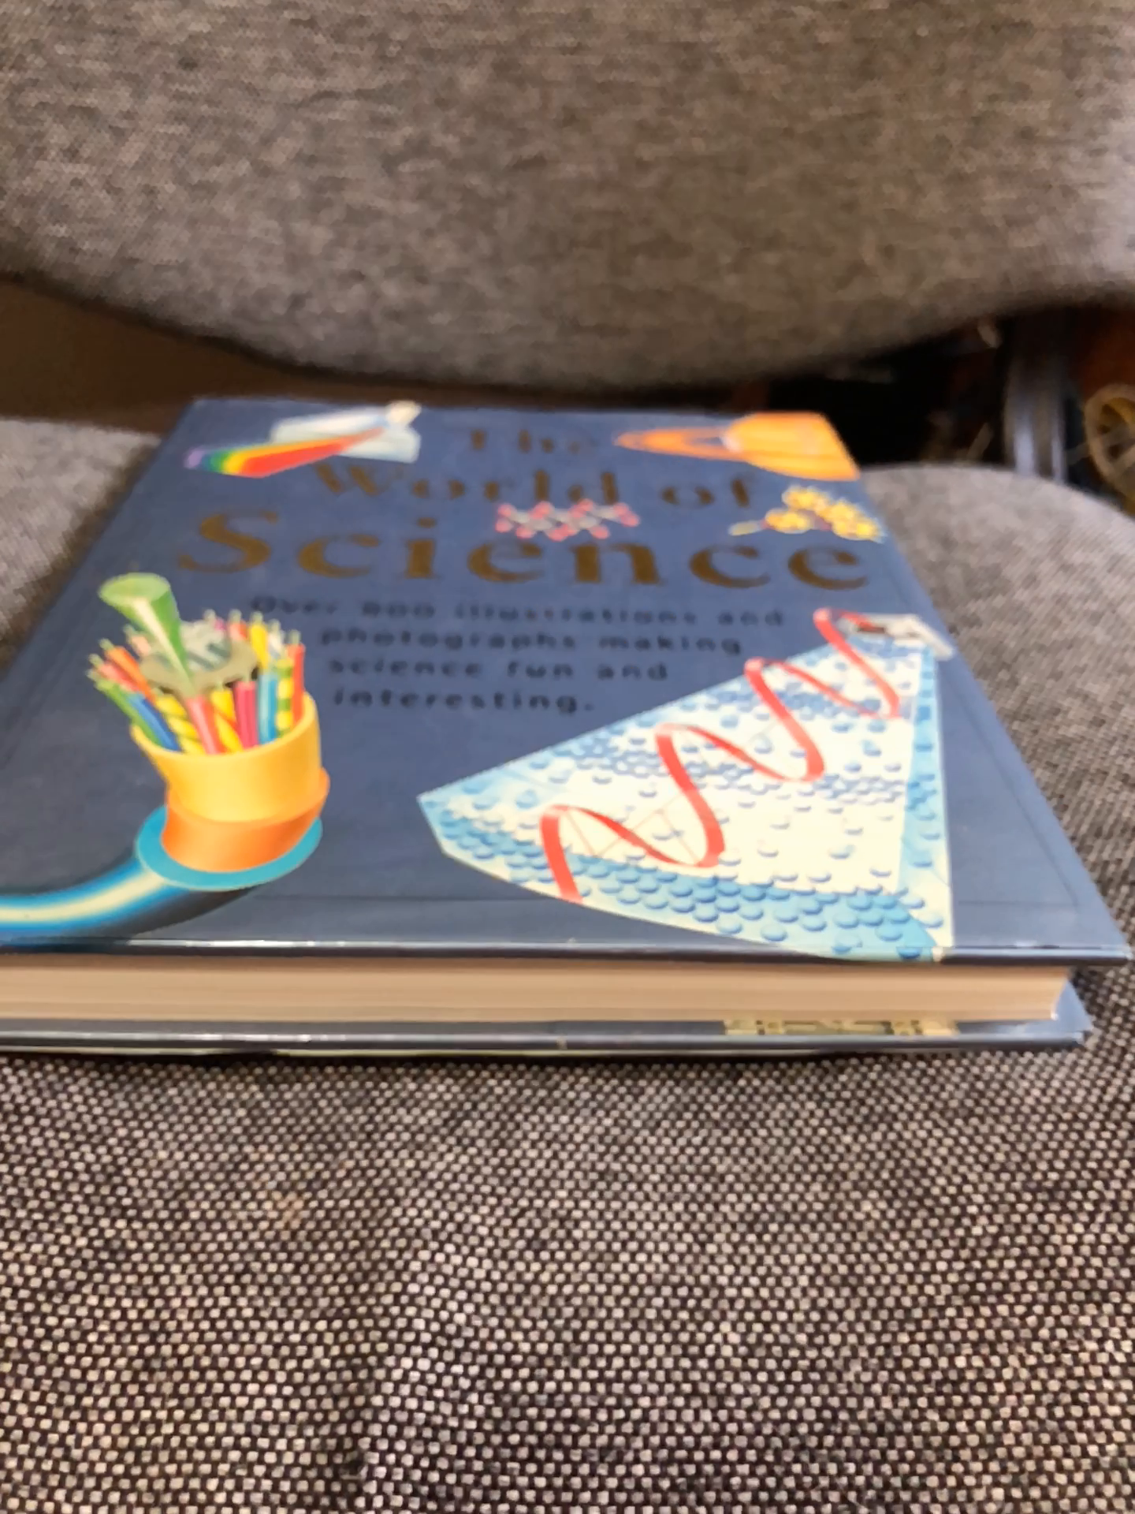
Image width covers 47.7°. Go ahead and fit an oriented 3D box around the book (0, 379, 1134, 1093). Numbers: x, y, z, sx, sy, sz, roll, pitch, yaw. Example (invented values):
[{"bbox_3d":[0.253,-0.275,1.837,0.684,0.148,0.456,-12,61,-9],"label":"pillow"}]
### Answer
[{"bbox_3d":[-0.019,-0.033,0.327,0.220,0.030,0.277,1,34,-4],"label":"book"}]
